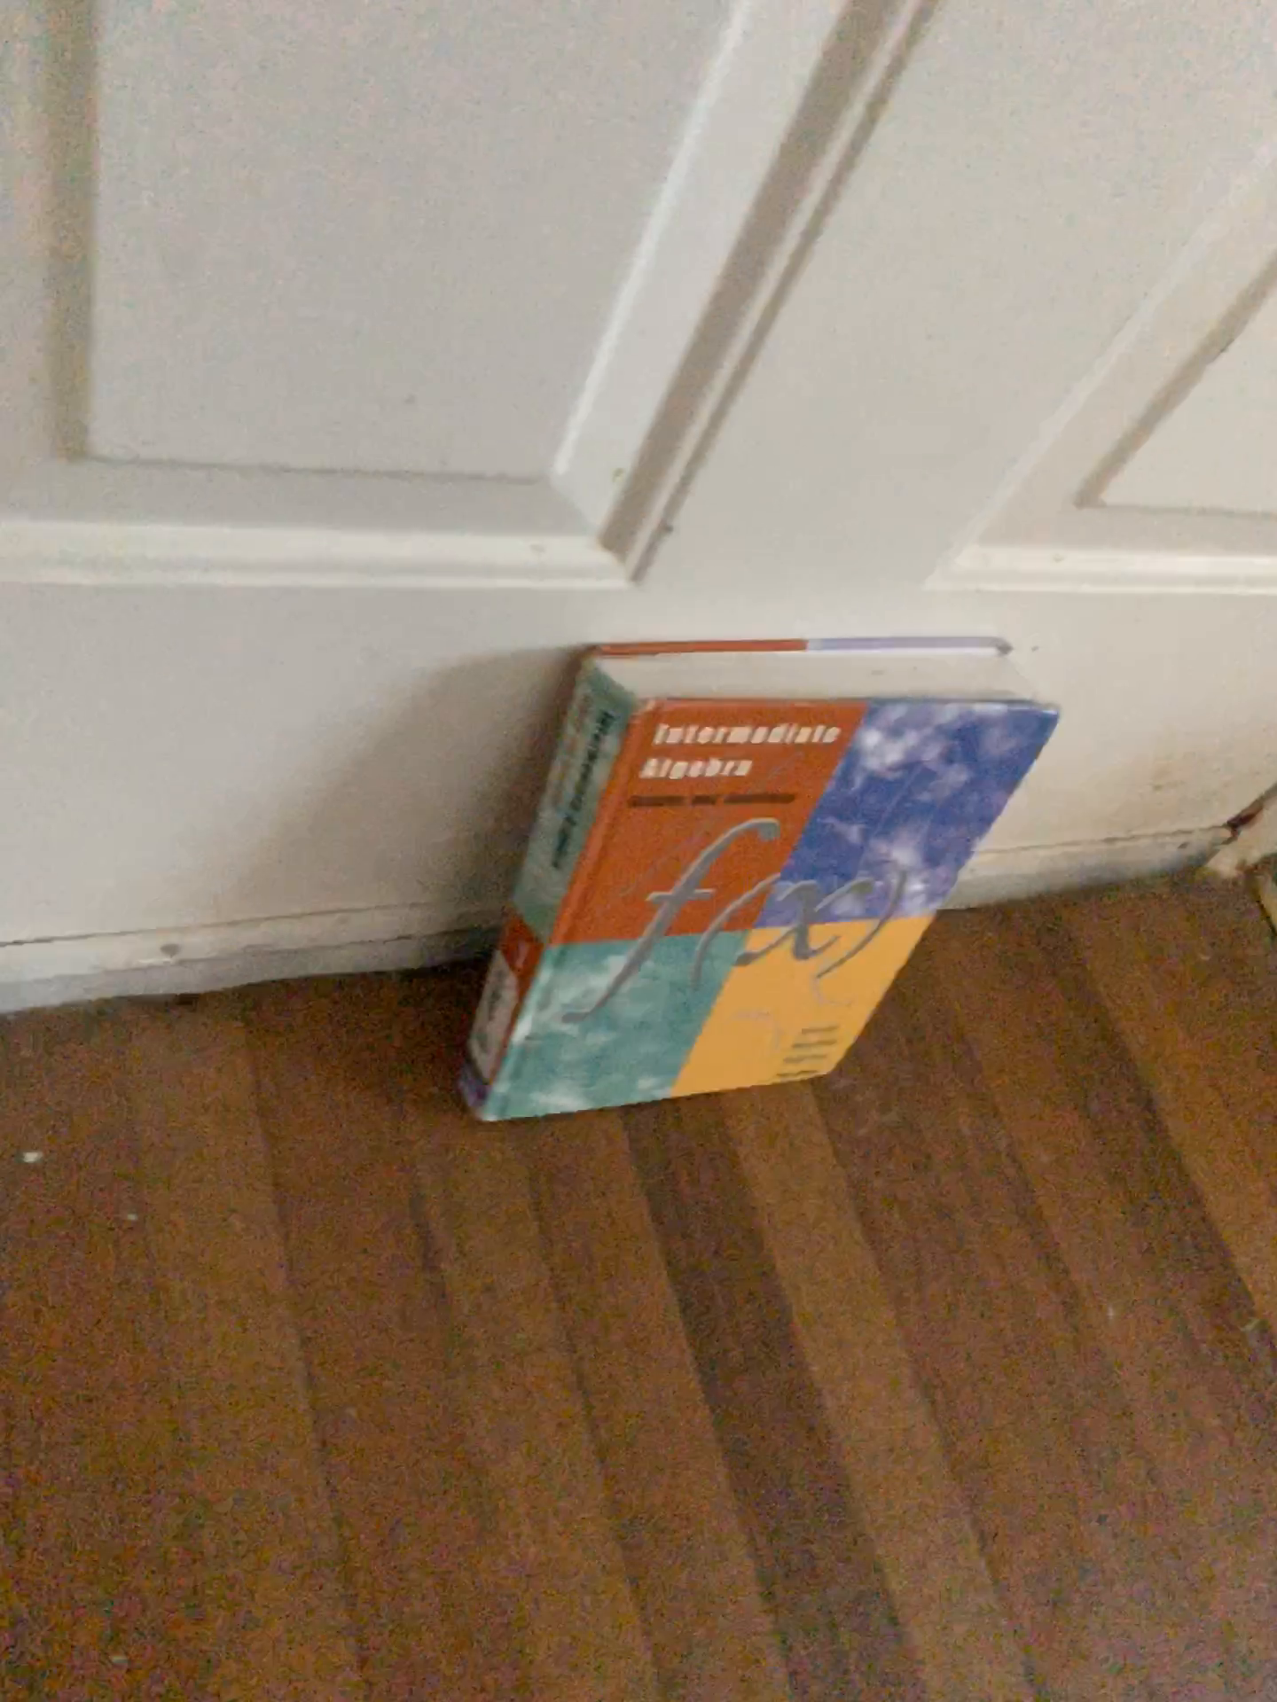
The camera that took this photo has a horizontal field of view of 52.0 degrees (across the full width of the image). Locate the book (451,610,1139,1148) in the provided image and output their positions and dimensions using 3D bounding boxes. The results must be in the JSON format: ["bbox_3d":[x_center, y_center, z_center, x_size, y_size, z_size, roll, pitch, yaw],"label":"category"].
[{"bbox_3d":[0.055,0.020,0.580,0.231,0.249,0.060,-2,44,-23],"label":"book"}]
